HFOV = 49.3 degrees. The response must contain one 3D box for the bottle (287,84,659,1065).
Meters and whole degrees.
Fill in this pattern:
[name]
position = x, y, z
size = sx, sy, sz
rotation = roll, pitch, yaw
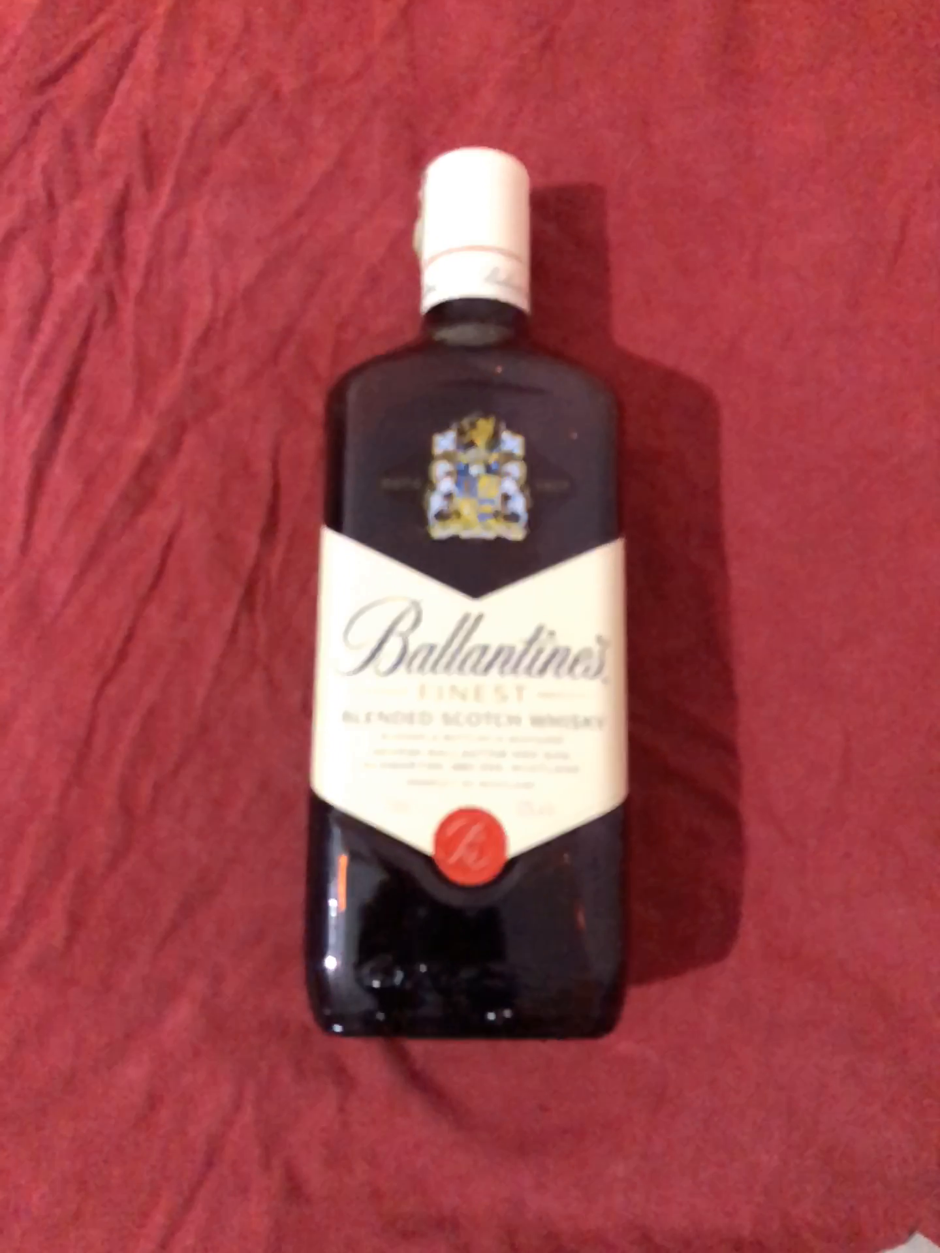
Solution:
[bottle]
position = 0.002, -0.016, 0.286
size = 0.090, 0.050, 0.250
rotation = 2, 84, -4
